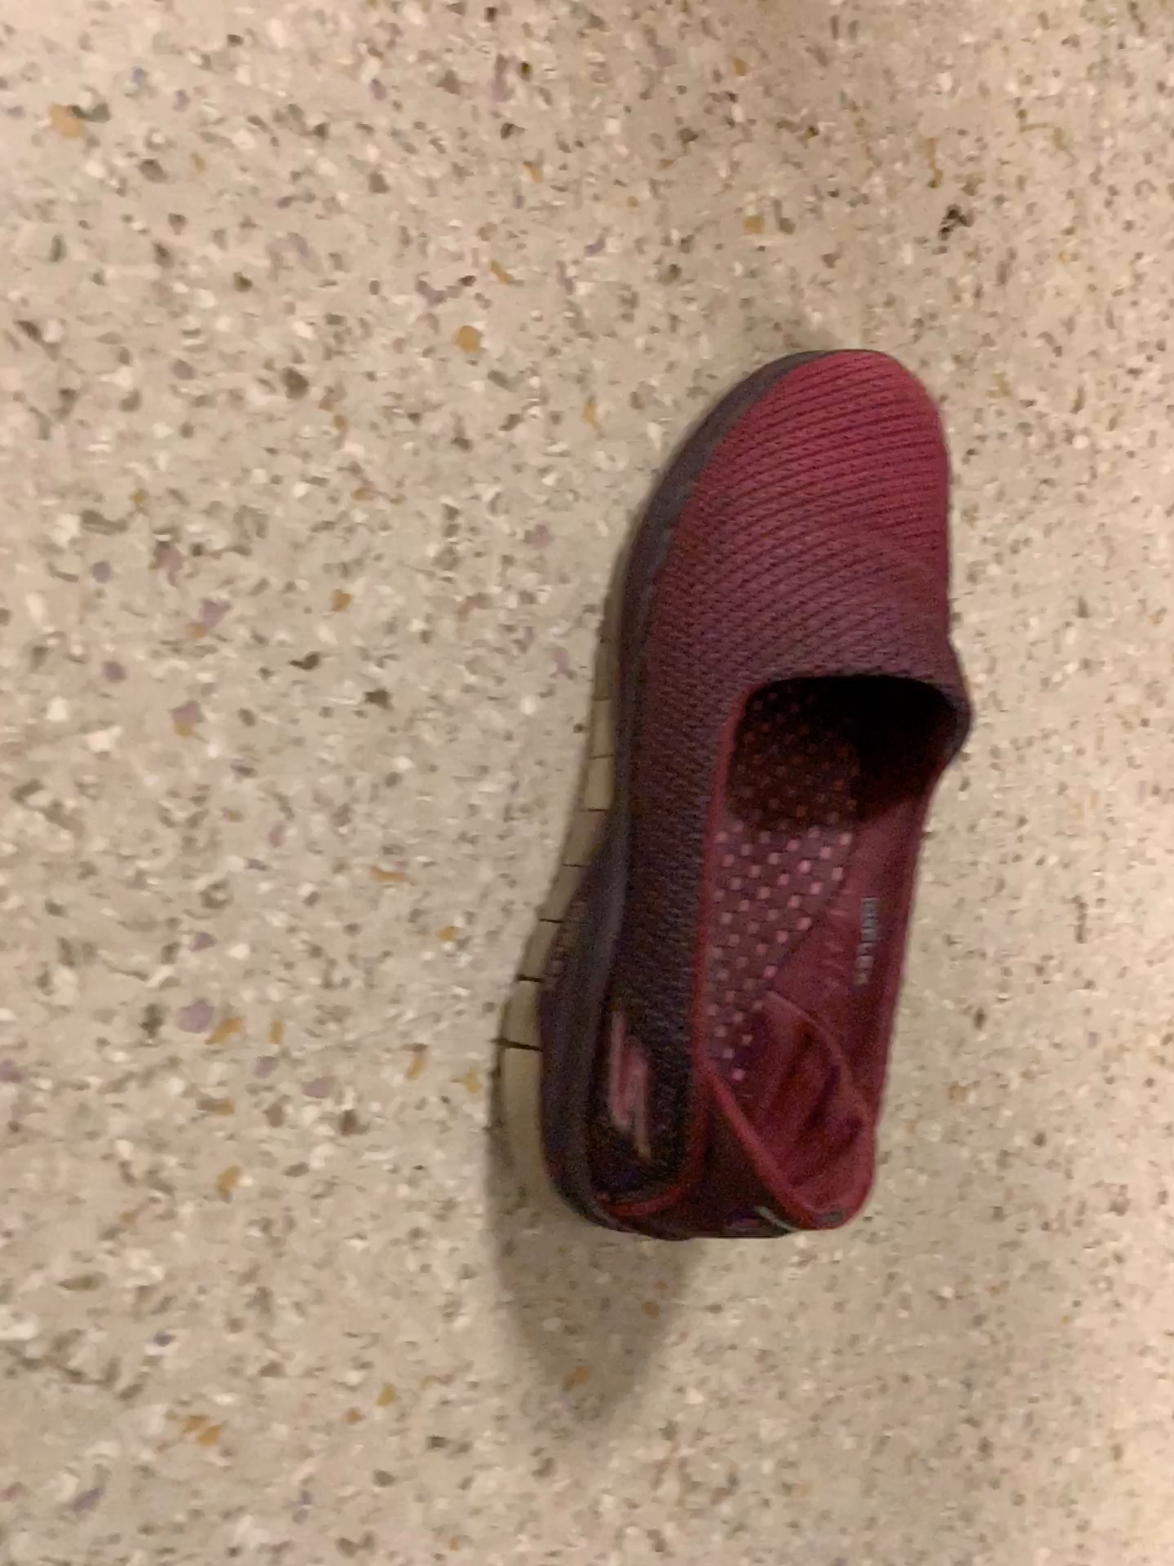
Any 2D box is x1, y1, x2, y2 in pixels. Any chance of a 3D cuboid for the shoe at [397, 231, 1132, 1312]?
[{"bbox_3d":[0.049,-0.002,0.312,0.092,0.091,0.229,25,78,-33],"label":"shoe"}]
